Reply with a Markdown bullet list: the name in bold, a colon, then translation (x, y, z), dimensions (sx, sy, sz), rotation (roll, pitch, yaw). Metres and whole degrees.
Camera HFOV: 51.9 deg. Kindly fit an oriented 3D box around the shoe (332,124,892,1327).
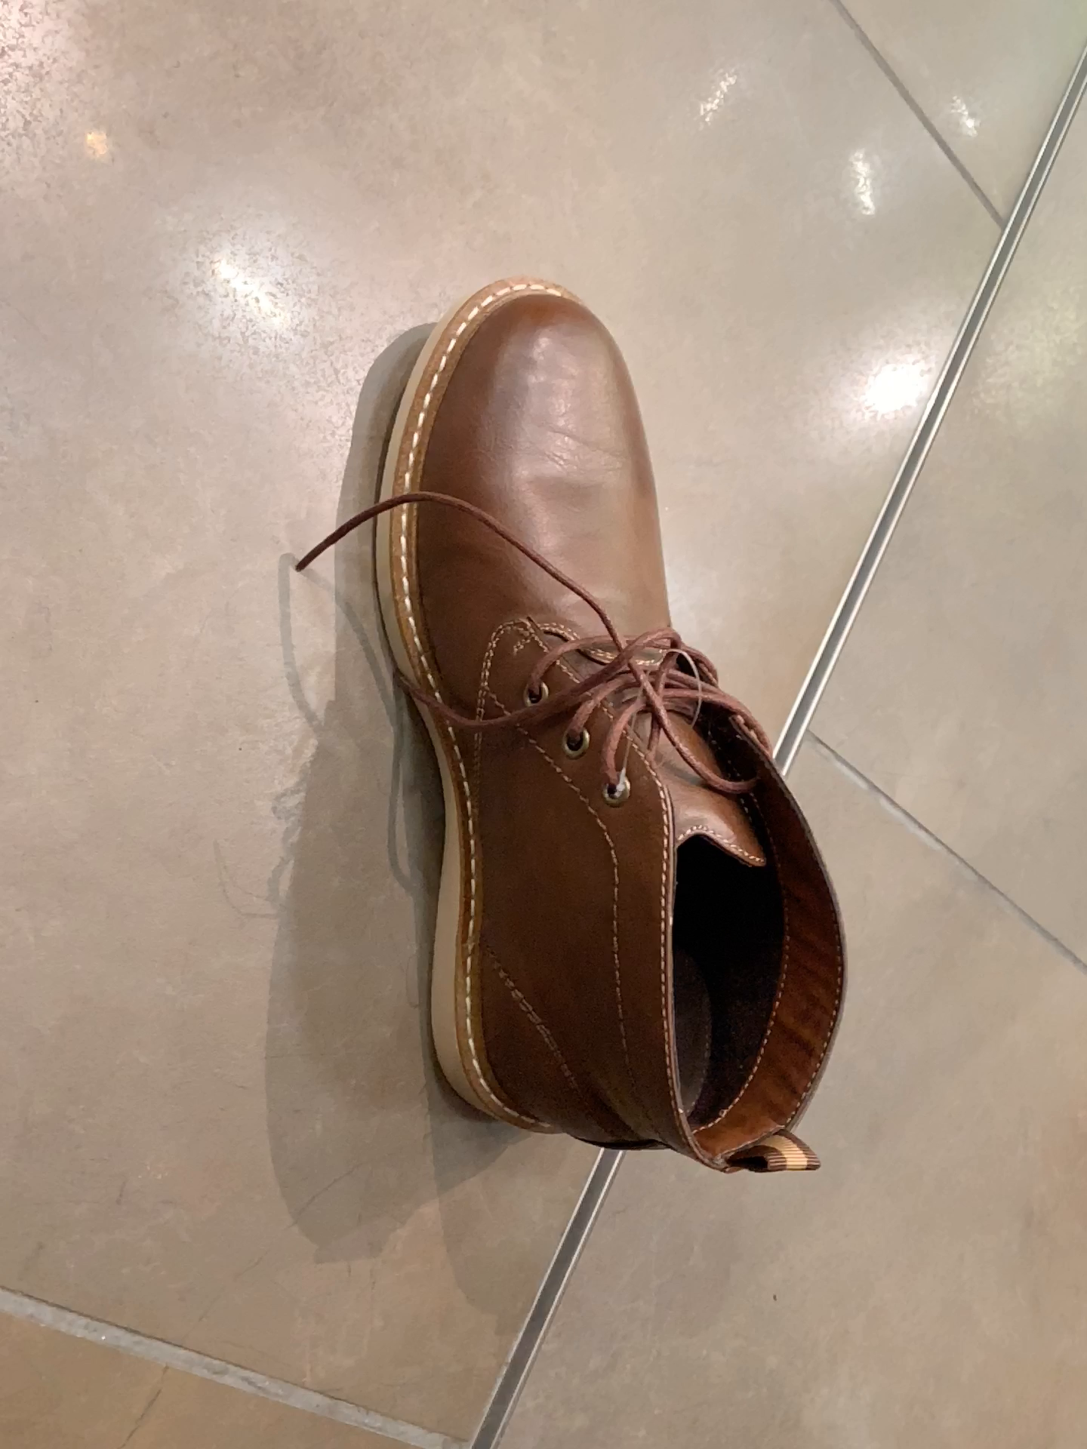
- **shoe**: translation (0.016, -0.001, 0.352), dimensions (0.107, 0.120, 0.294), rotation (-4, 91, -32)
